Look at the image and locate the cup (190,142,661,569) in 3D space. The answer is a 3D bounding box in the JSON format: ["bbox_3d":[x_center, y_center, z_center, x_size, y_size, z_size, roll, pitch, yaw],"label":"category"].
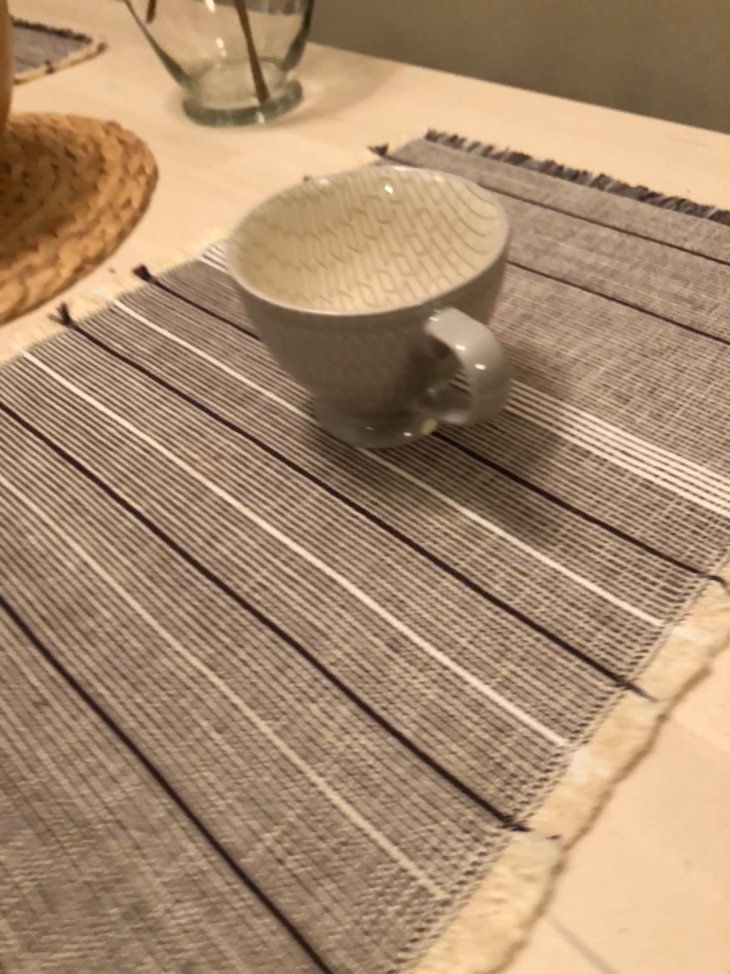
[{"bbox_3d":[0.018,-0.064,0.335,0.110,0.080,0.151,-28,48,-20],"label":"cup"}]
